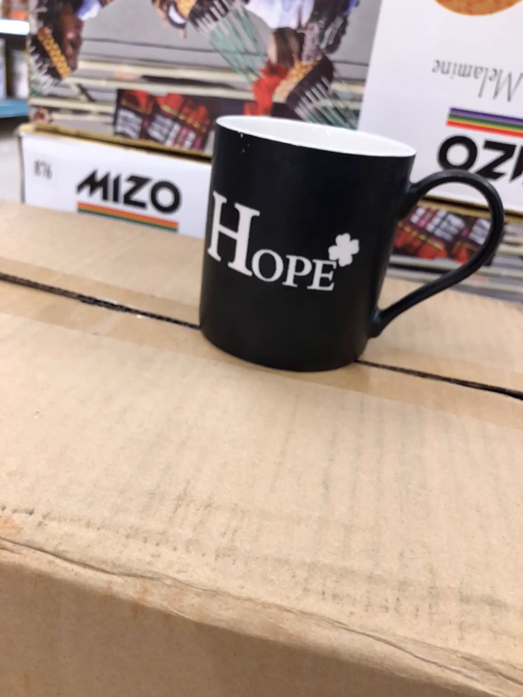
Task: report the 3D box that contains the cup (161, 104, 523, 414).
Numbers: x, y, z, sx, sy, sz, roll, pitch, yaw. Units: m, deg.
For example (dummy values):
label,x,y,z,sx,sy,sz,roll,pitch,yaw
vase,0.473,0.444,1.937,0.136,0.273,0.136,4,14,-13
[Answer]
label,x,y,z,sx,sy,sz,roll,pitch,yaw
cup,0.031,-0.045,0.254,0.120,0.089,0.091,11,26,3
